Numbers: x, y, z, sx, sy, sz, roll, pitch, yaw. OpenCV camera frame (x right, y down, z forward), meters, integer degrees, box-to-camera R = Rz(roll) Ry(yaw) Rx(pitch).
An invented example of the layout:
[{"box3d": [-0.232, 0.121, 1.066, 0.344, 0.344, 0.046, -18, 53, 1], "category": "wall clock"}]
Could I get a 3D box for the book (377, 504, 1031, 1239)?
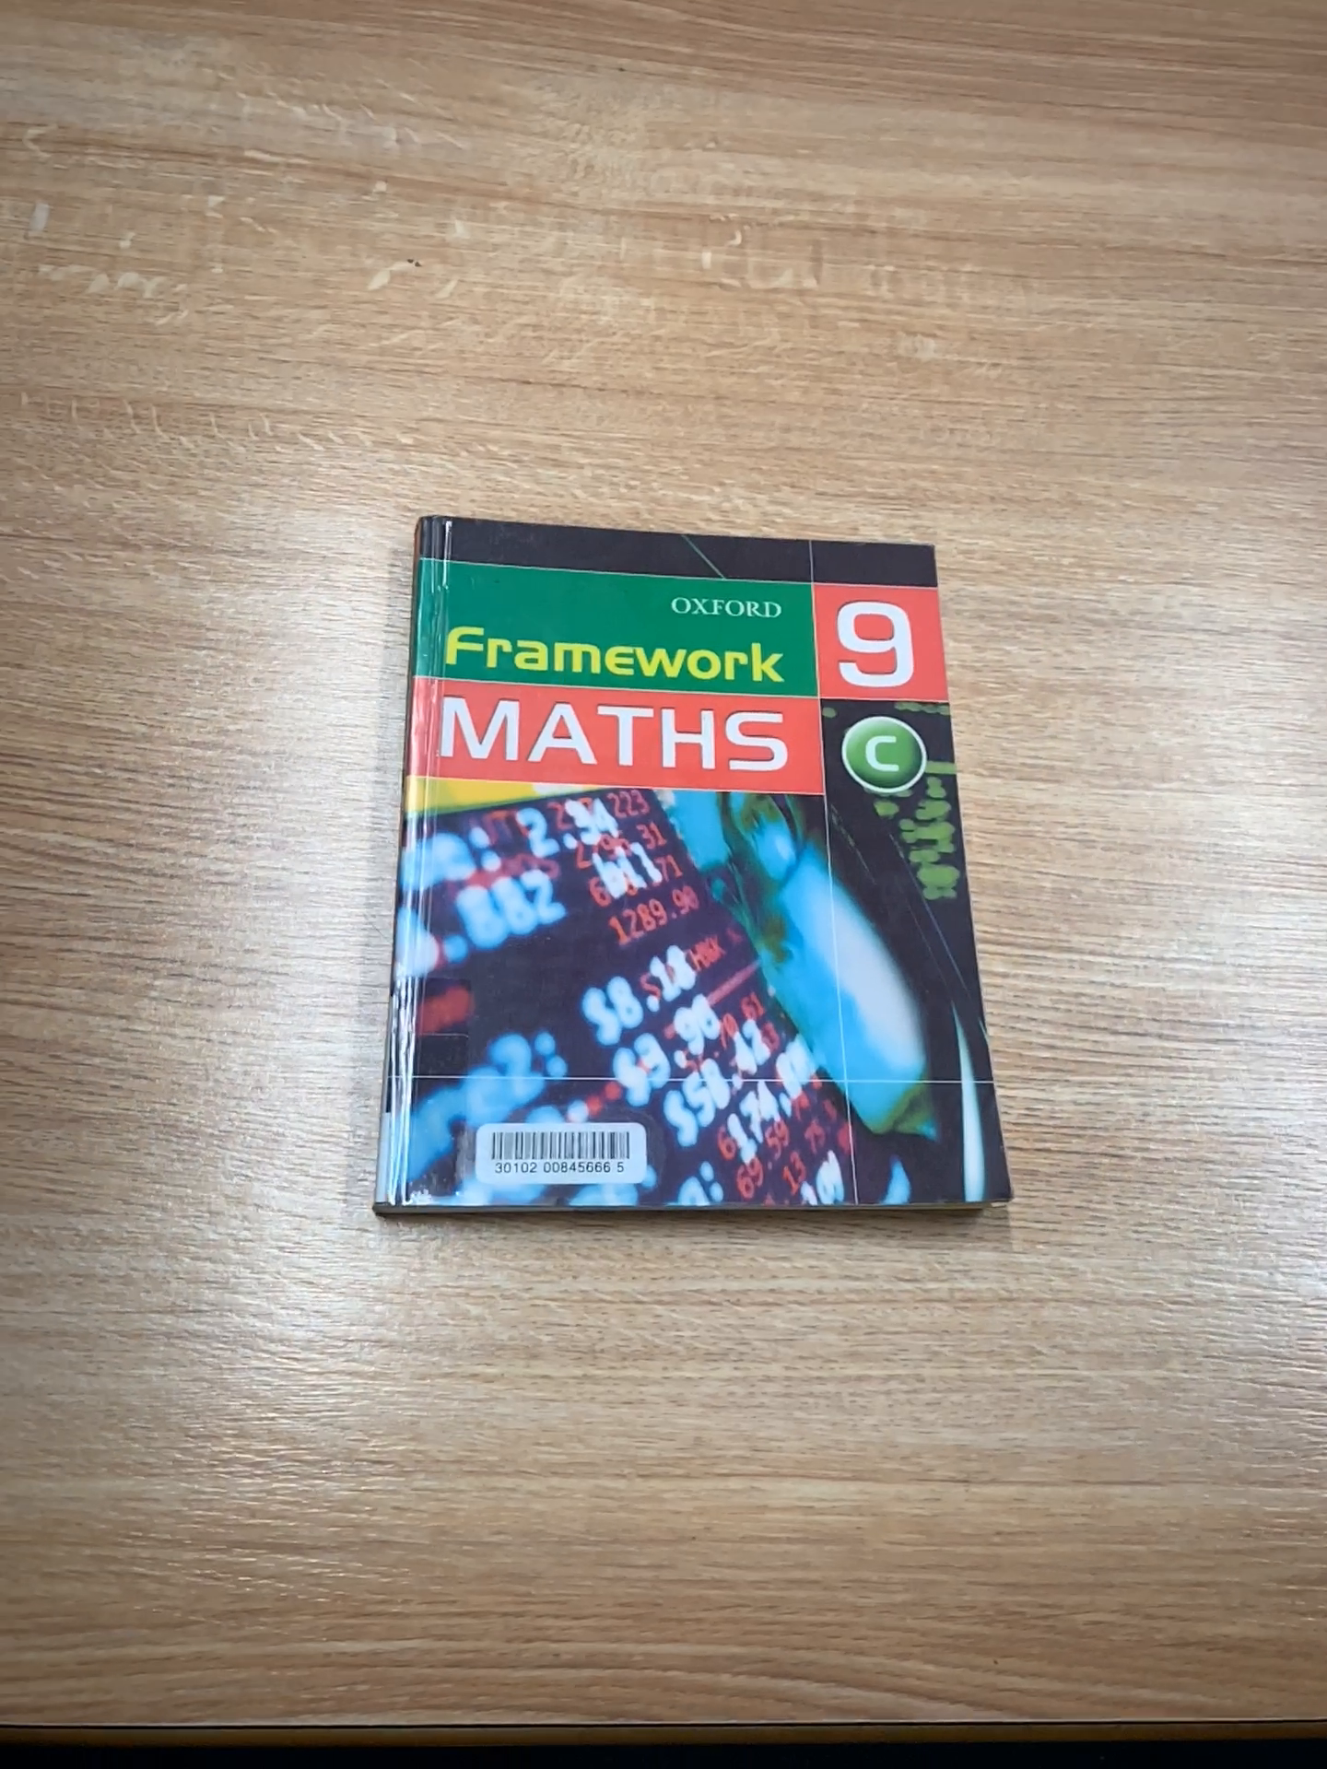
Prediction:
[{"box3d": [0.010, -0.012, 0.444, 0.190, 0.020, 0.244, 1, 68, -7], "category": "book"}]
